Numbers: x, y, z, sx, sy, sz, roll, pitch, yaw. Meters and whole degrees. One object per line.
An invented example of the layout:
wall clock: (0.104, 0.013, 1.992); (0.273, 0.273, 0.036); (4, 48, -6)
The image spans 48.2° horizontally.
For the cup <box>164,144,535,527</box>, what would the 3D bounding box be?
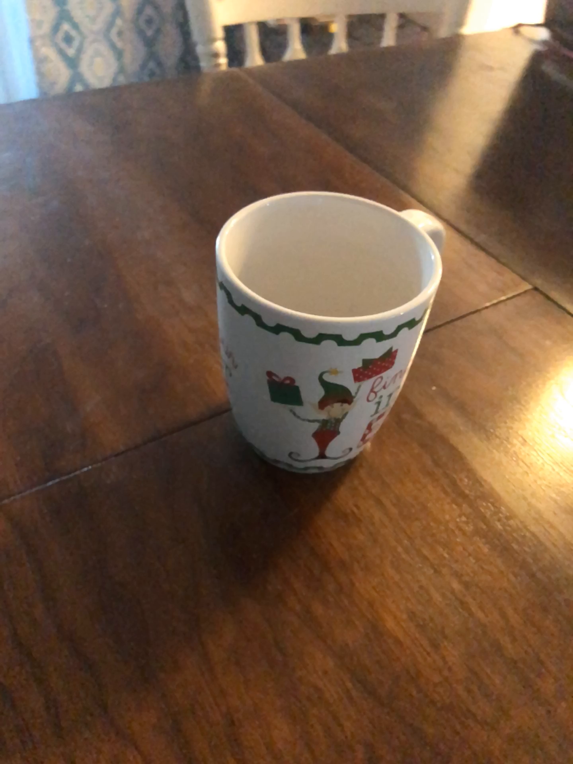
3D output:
cup: (0.033, -0.034, 0.361); (0.110, 0.120, 0.160); (35, 52, 26)
